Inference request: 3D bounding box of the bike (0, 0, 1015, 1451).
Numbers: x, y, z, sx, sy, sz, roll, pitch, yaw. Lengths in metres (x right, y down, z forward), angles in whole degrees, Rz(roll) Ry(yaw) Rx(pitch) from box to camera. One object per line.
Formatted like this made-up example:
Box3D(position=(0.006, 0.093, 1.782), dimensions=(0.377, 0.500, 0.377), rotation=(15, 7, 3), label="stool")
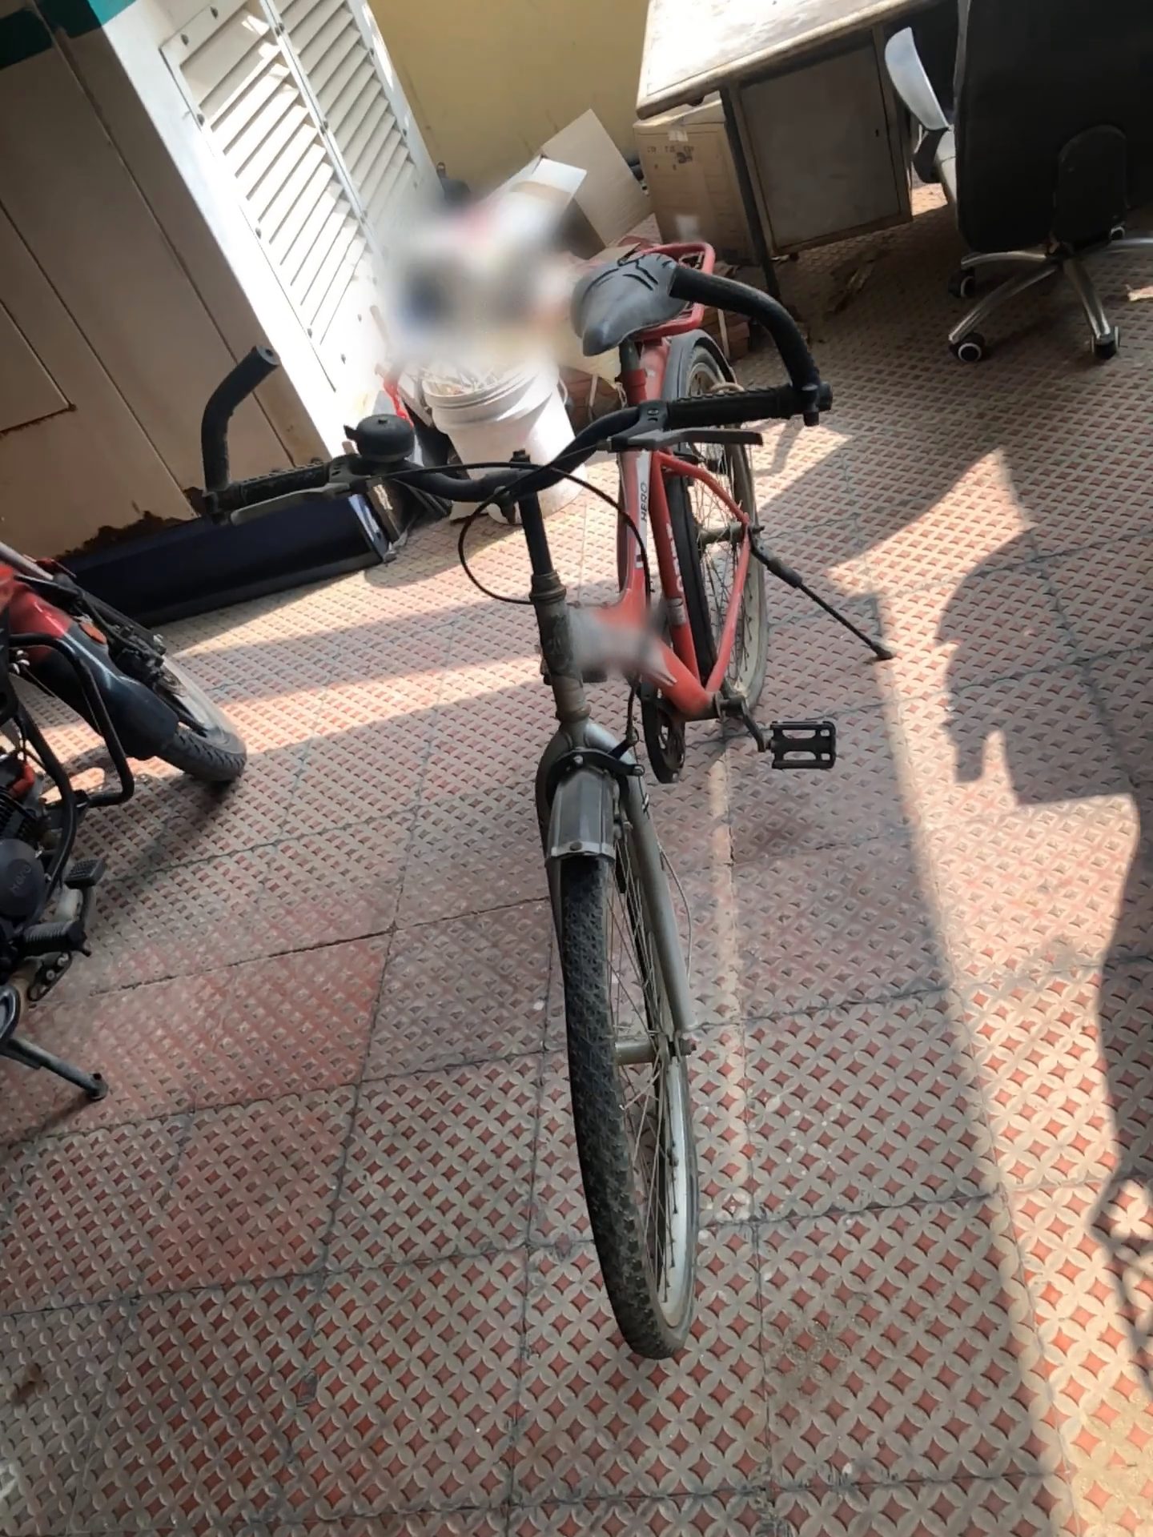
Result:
Box3D(position=(0.121, -0.184, 1.611), dimensions=(0.575, 0.963, 1.618), rotation=(-9, 40, 19), label="bike")
